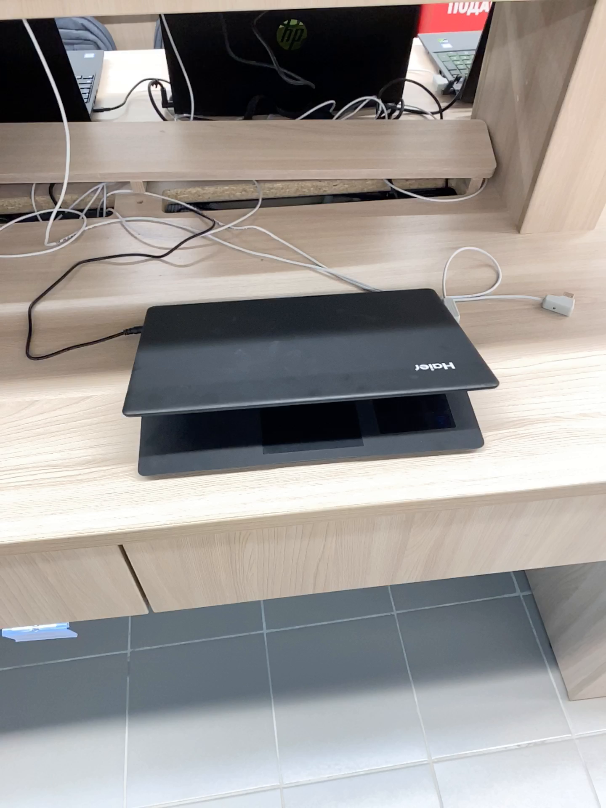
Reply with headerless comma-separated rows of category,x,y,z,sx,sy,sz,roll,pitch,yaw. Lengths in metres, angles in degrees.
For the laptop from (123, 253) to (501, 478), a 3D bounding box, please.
laptop,0.001,-0.047,0.607,0.319,0.072,0.202,-4,51,-4
